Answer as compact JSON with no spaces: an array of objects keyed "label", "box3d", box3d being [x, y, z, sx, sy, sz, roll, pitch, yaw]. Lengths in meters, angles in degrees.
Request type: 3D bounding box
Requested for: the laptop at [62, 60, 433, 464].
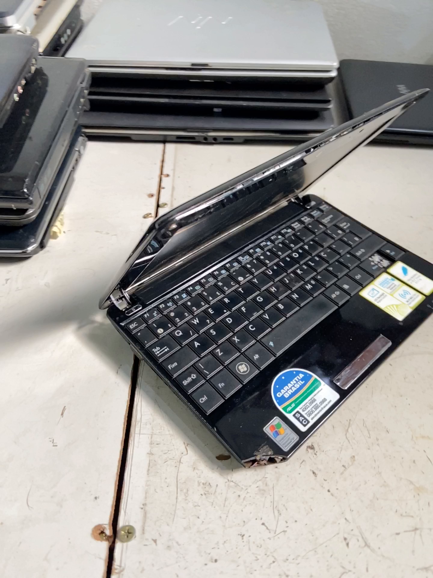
[{"label":"laptop","box3d":[0.063,-0.046,0.334,0.263,0.137,0.168,-31,54,-29]}]
